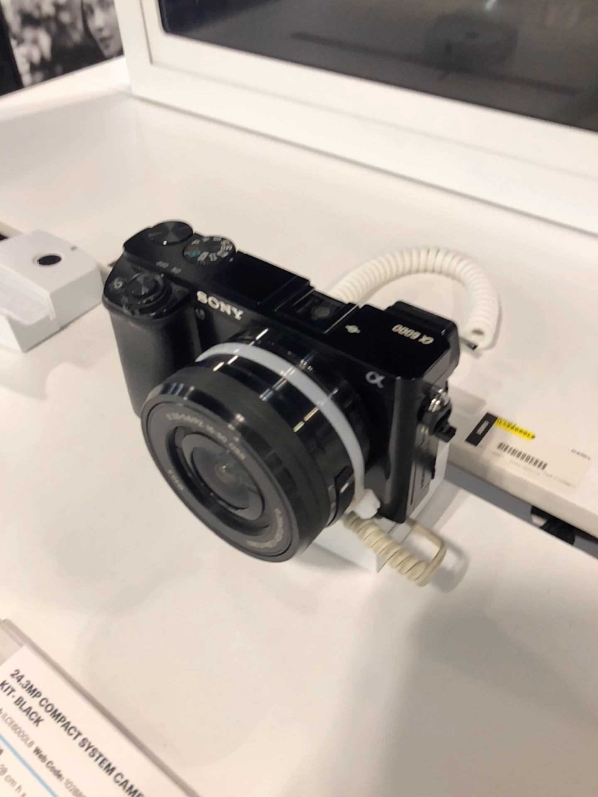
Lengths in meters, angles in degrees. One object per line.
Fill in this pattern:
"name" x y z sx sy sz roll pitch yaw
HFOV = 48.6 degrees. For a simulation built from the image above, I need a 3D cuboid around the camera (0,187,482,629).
"camera" -0.019 -0.005 0.208 0.120 0.070 0.070 27 51 27
